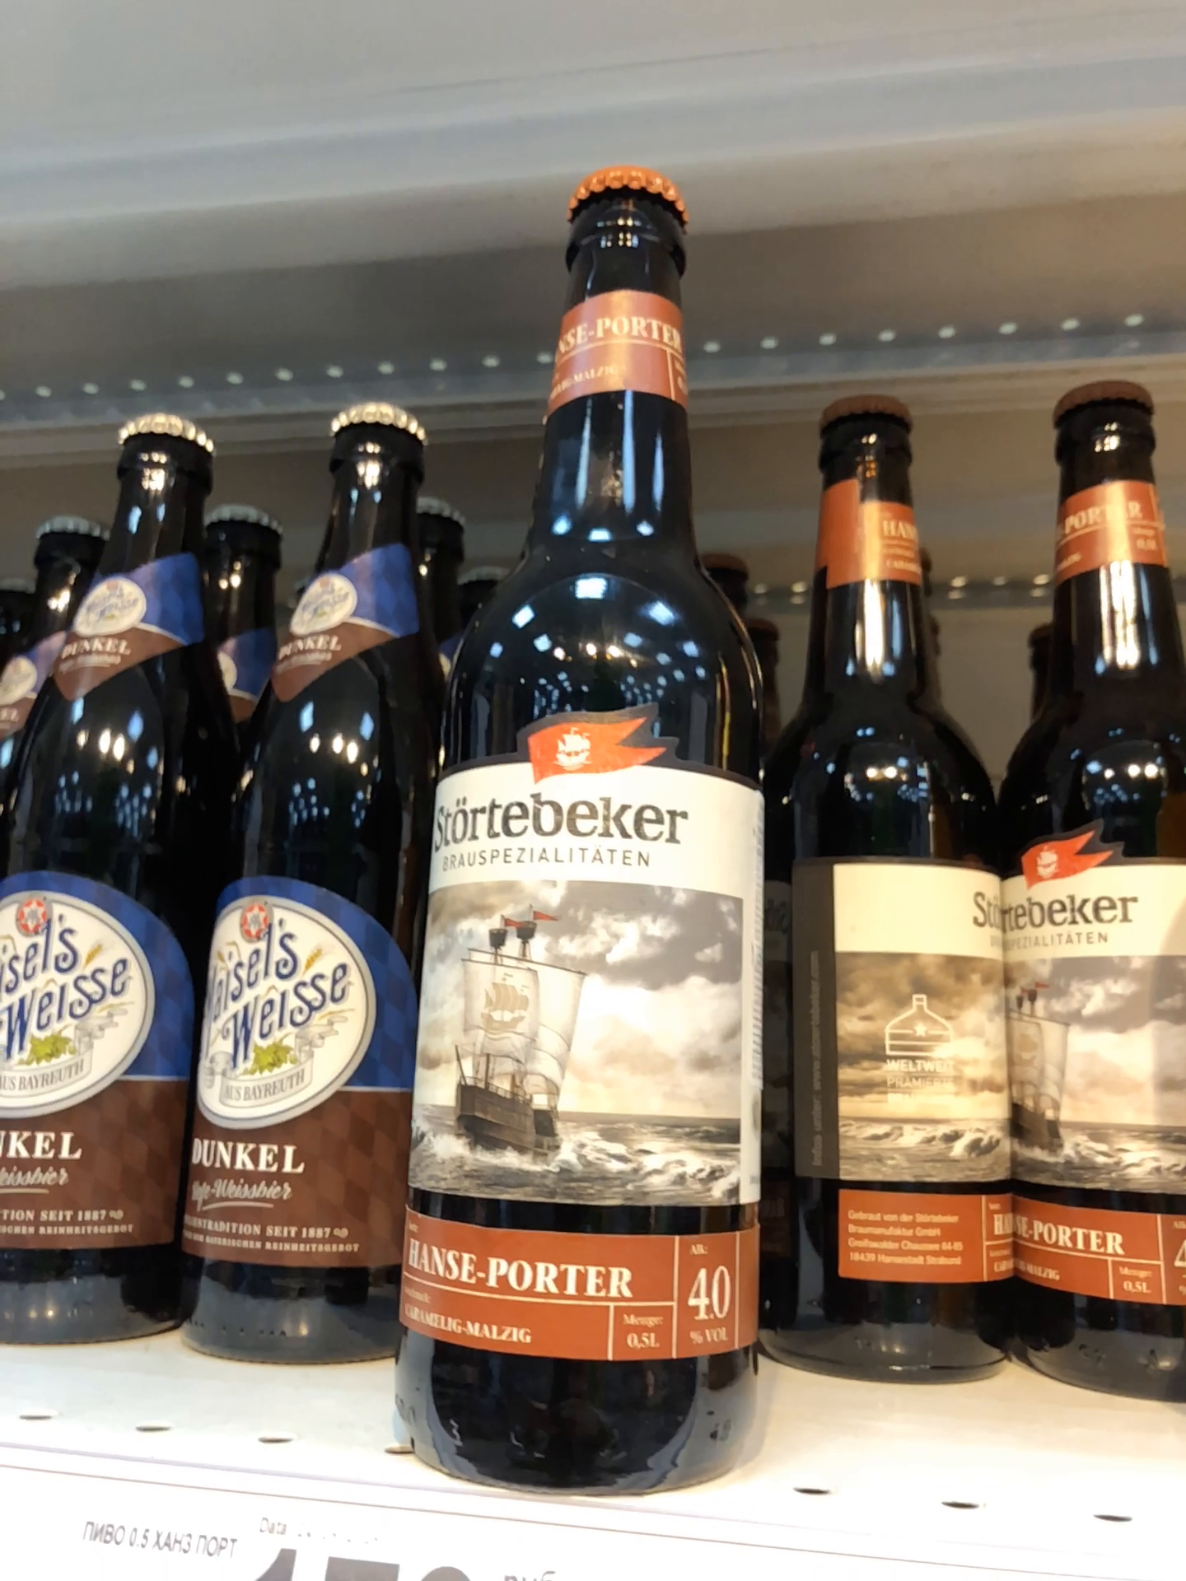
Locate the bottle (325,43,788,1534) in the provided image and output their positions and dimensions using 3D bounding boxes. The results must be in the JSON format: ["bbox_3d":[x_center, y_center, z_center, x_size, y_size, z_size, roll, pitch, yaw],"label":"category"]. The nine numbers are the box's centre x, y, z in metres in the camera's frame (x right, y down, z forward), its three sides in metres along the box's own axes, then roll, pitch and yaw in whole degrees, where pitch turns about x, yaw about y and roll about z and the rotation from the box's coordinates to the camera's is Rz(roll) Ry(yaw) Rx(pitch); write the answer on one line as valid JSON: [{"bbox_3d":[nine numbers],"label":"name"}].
[{"bbox_3d":[0.002,-0.010,0.285,0.070,0.281,0.070,2,-13,0],"label":"bottle"}]
